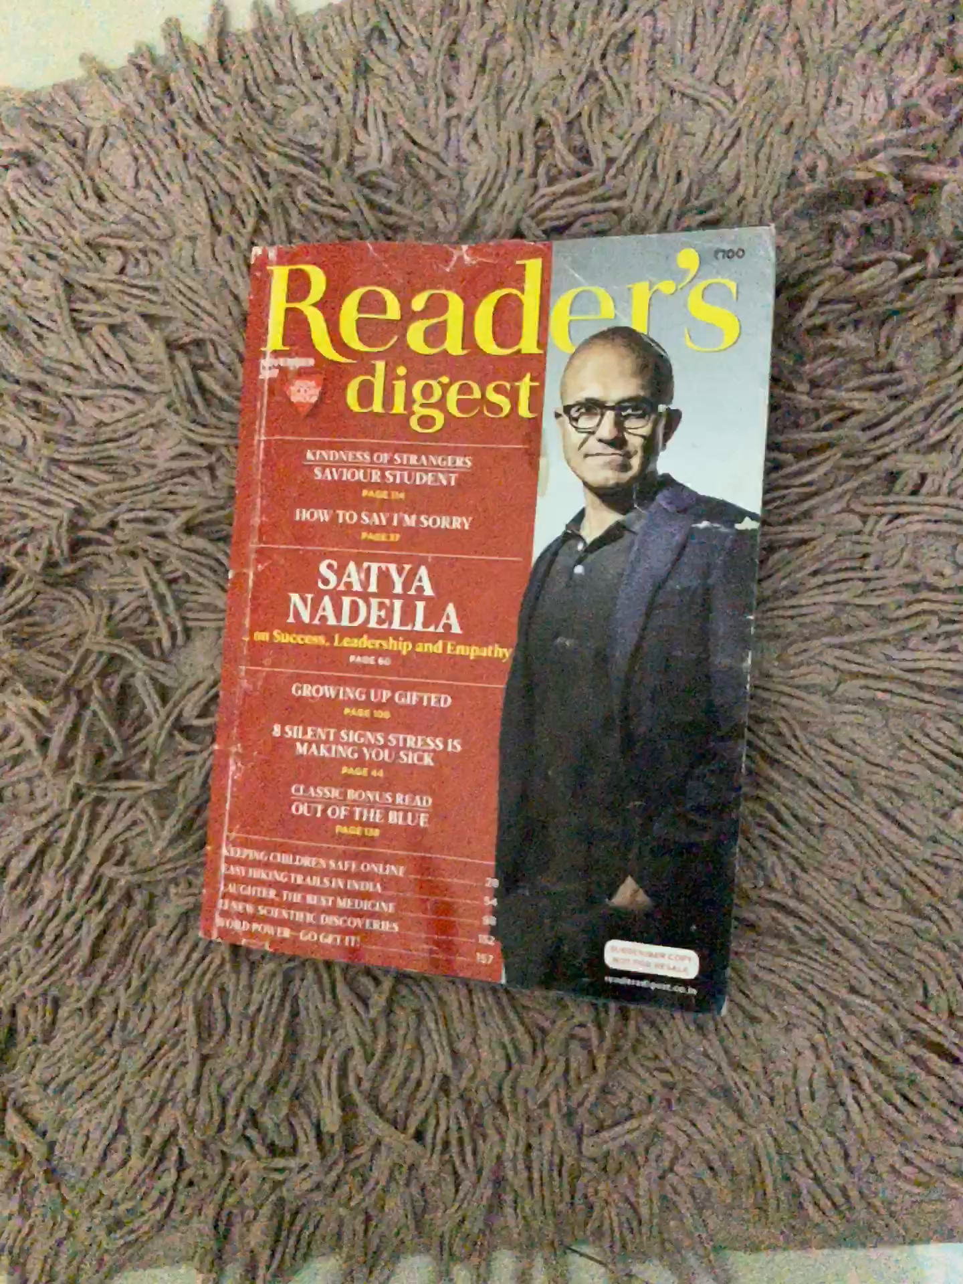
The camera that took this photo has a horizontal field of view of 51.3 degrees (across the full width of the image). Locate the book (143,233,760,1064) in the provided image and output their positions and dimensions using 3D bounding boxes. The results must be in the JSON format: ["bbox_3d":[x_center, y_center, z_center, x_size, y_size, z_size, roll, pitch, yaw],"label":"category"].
[{"bbox_3d":[-0.008,-0.004,0.239,0.130,0.020,0.180,4,88,12],"label":"book"}]
